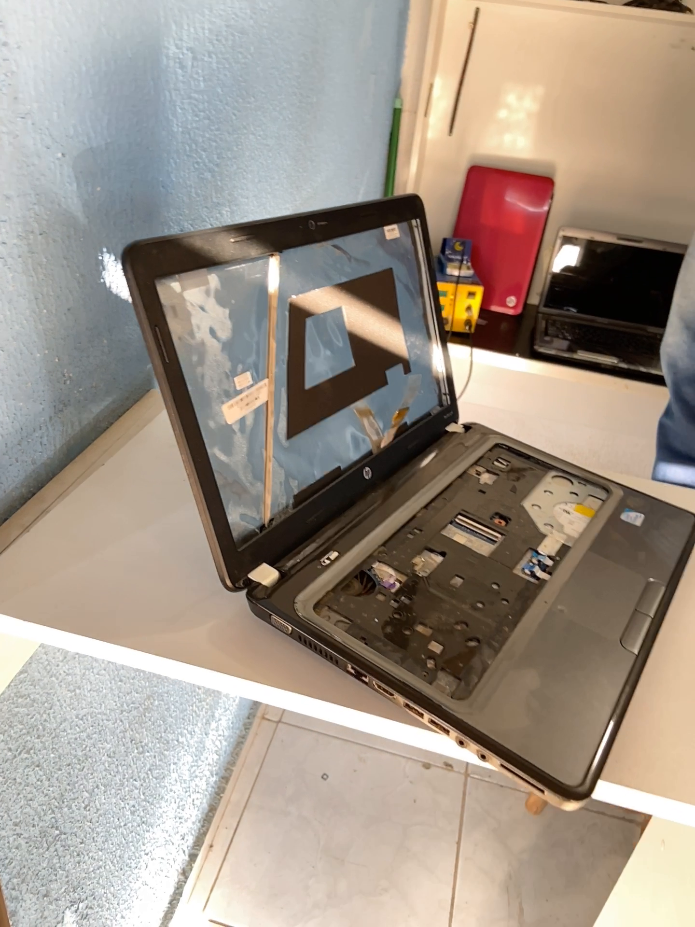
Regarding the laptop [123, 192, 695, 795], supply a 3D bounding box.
[{"bbox_3d":[0.088,-0.041,0.510,0.323,0.194,0.337,25,35,26],"label":"laptop"}]
